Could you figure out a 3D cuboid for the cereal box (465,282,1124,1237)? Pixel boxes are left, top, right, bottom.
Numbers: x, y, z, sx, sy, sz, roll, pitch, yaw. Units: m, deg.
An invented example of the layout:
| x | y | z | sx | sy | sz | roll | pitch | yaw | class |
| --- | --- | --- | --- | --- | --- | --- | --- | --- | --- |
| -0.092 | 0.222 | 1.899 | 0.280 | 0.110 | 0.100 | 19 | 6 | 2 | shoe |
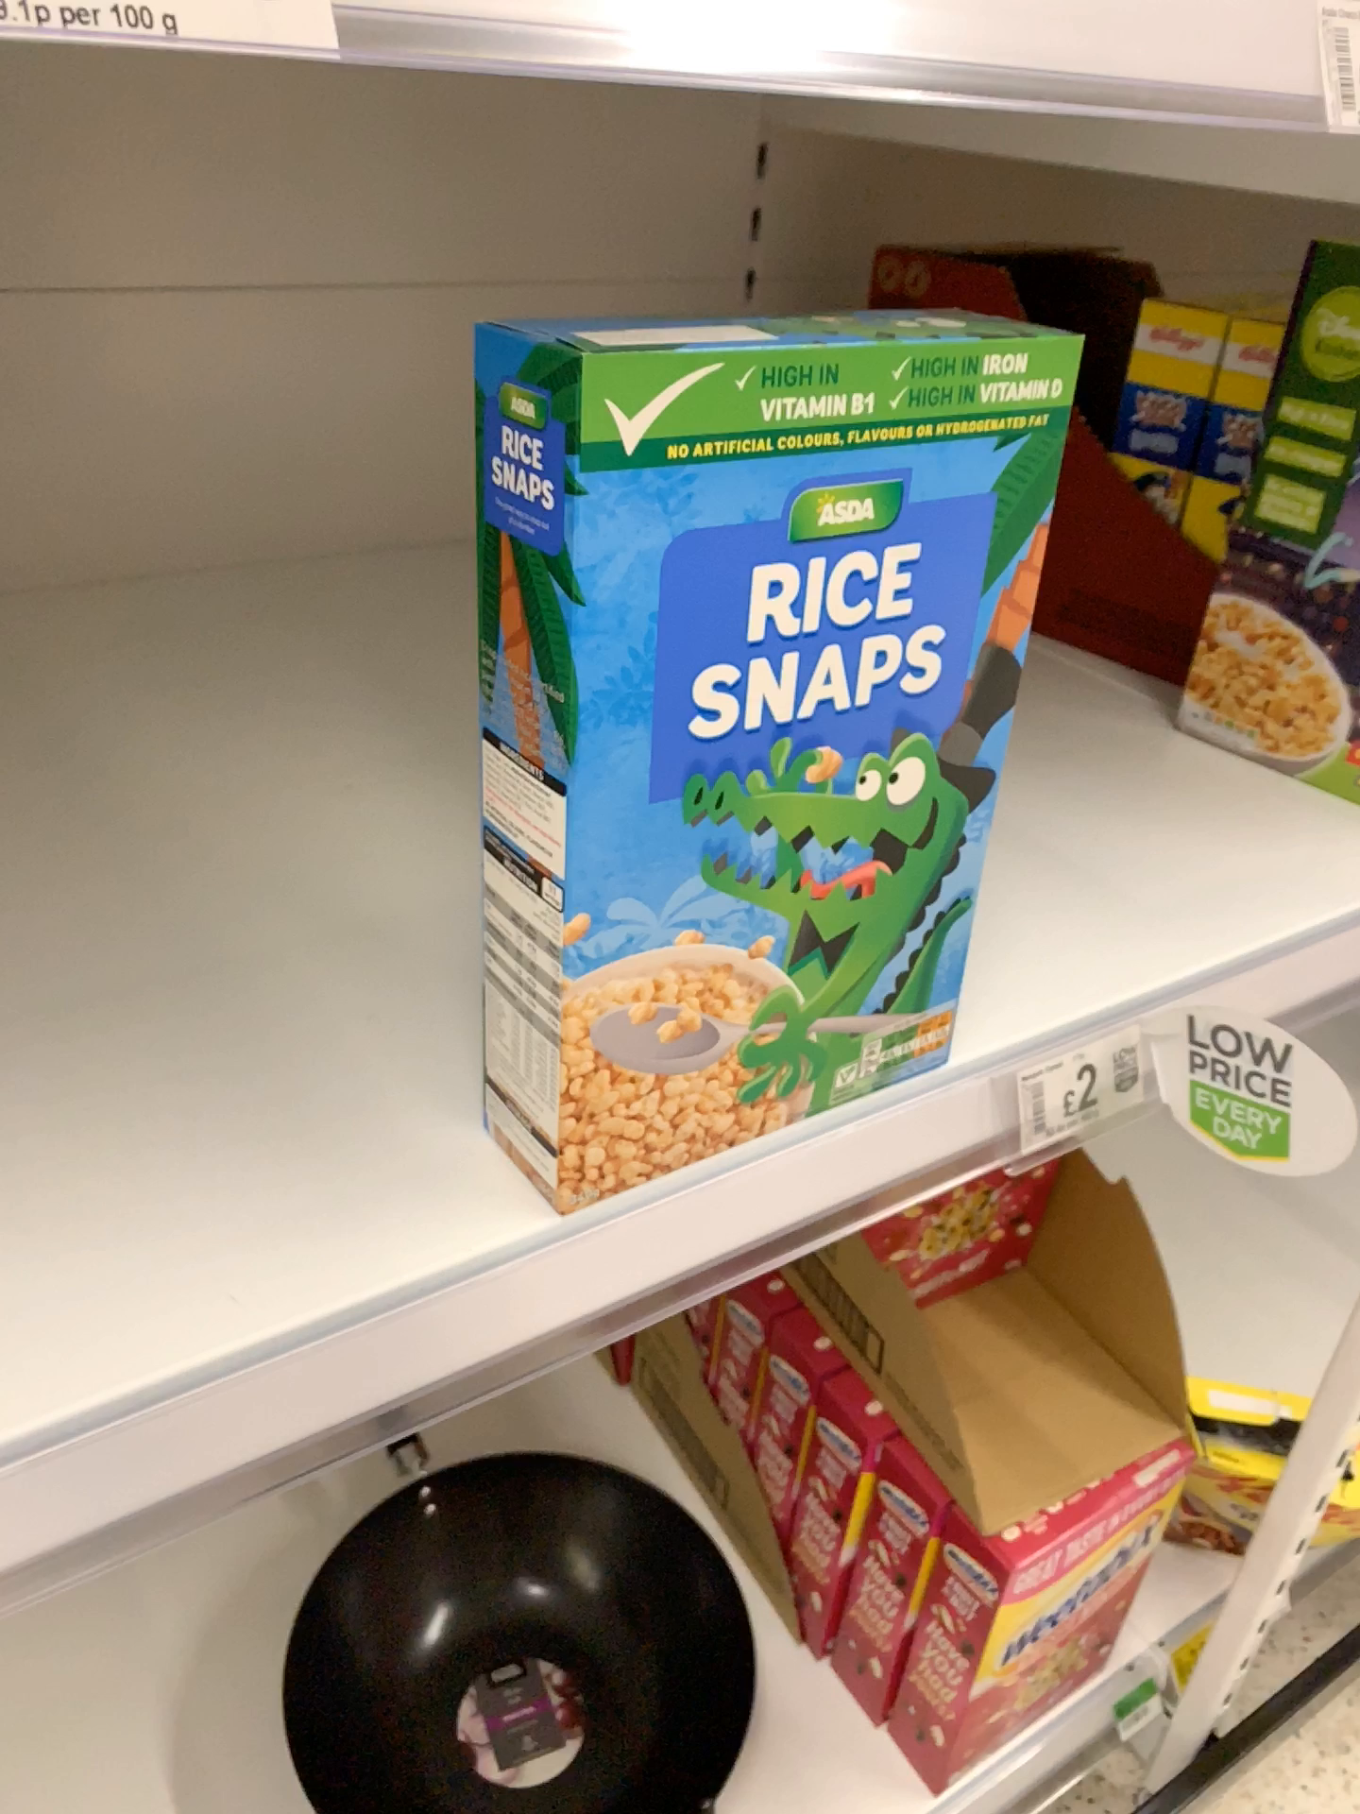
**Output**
| x | y | z | sx | sy | sz | roll | pitch | yaw | class |
| --- | --- | --- | --- | --- | --- | --- | --- | --- | --- |
| 0.028 | -0.051 | 0.480 | 0.191 | 0.287 | 0.070 | -16 | 37 | -32 | cereal box |
